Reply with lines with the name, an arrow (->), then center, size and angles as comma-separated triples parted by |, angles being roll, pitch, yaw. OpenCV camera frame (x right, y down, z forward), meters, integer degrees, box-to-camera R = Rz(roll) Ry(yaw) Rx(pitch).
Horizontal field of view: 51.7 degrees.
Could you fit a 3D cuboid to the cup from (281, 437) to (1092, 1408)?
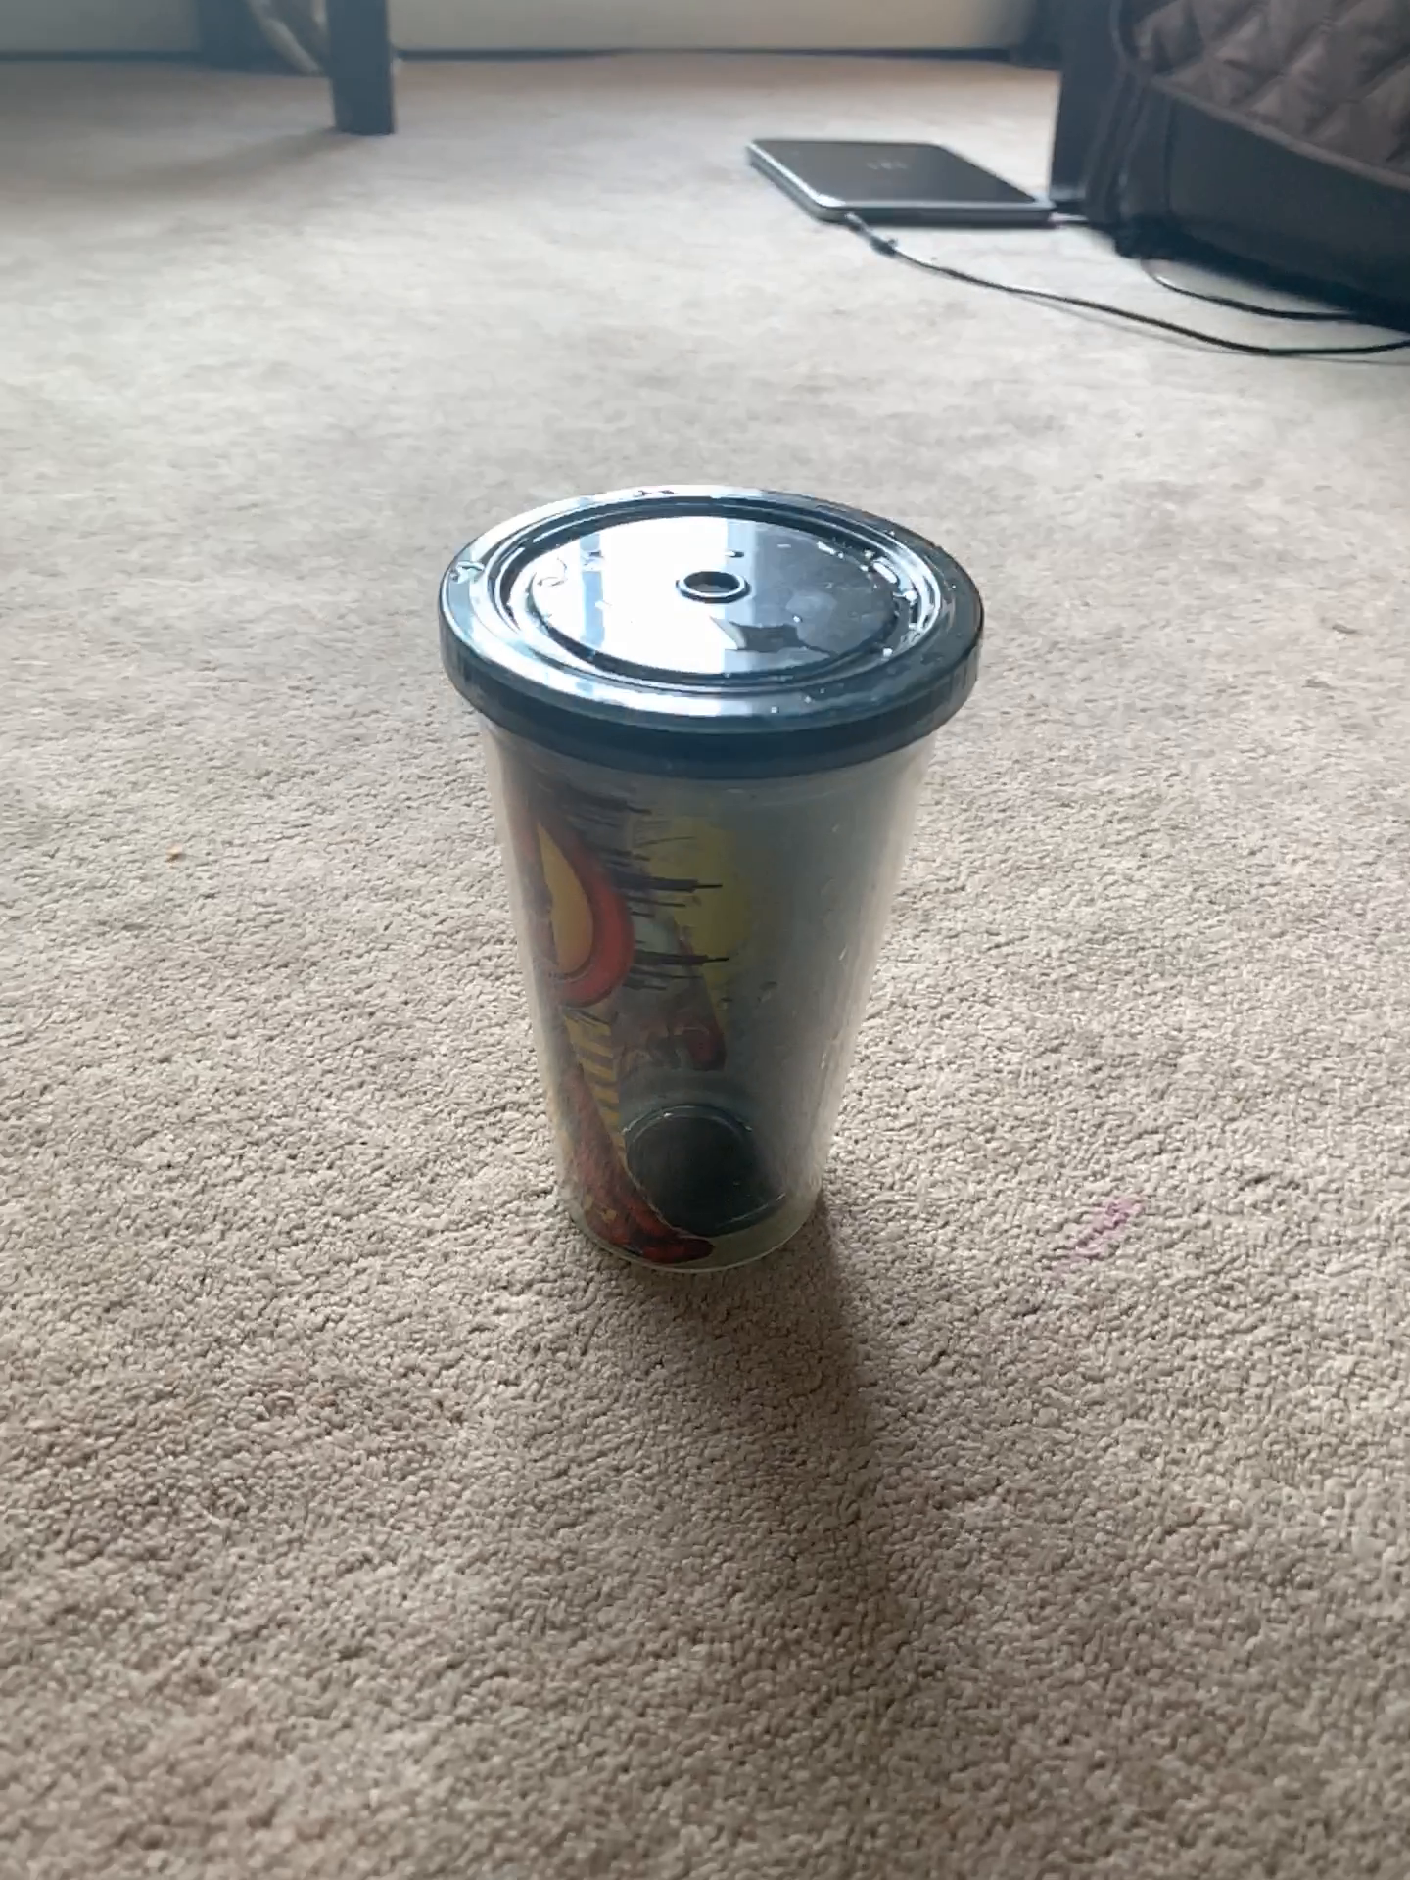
cup -> -0.007, -0.009, 0.294 | 0.101, 0.139, 0.100 | 2, 36, -2
